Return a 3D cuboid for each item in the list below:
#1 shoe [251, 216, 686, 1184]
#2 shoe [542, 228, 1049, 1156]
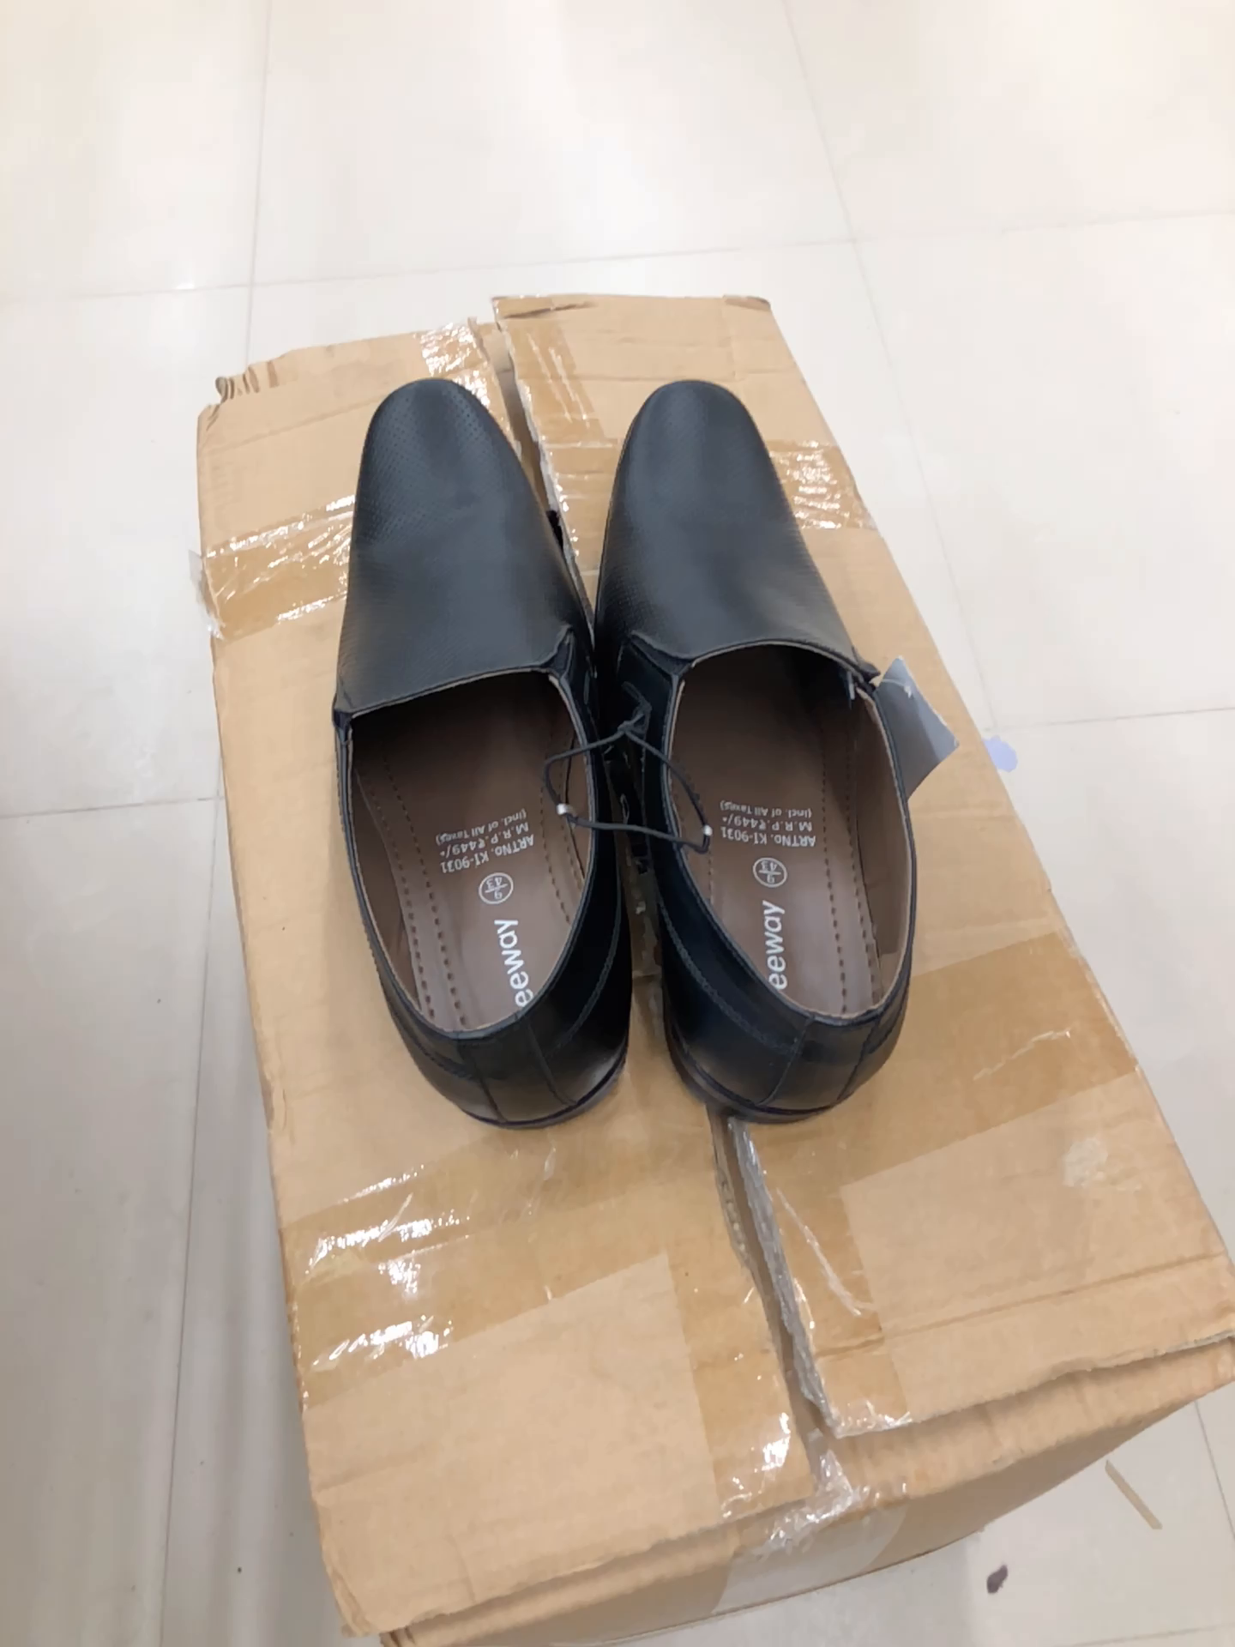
[{"bbox_3d":[-0.058,-0.056,0.467,0.100,0.100,0.321,-11,59,1],"label":"shoe"},{"bbox_3d":[0.040,-0.062,0.473,0.100,0.100,0.321,-4,59,-7],"label":"shoe"}]
